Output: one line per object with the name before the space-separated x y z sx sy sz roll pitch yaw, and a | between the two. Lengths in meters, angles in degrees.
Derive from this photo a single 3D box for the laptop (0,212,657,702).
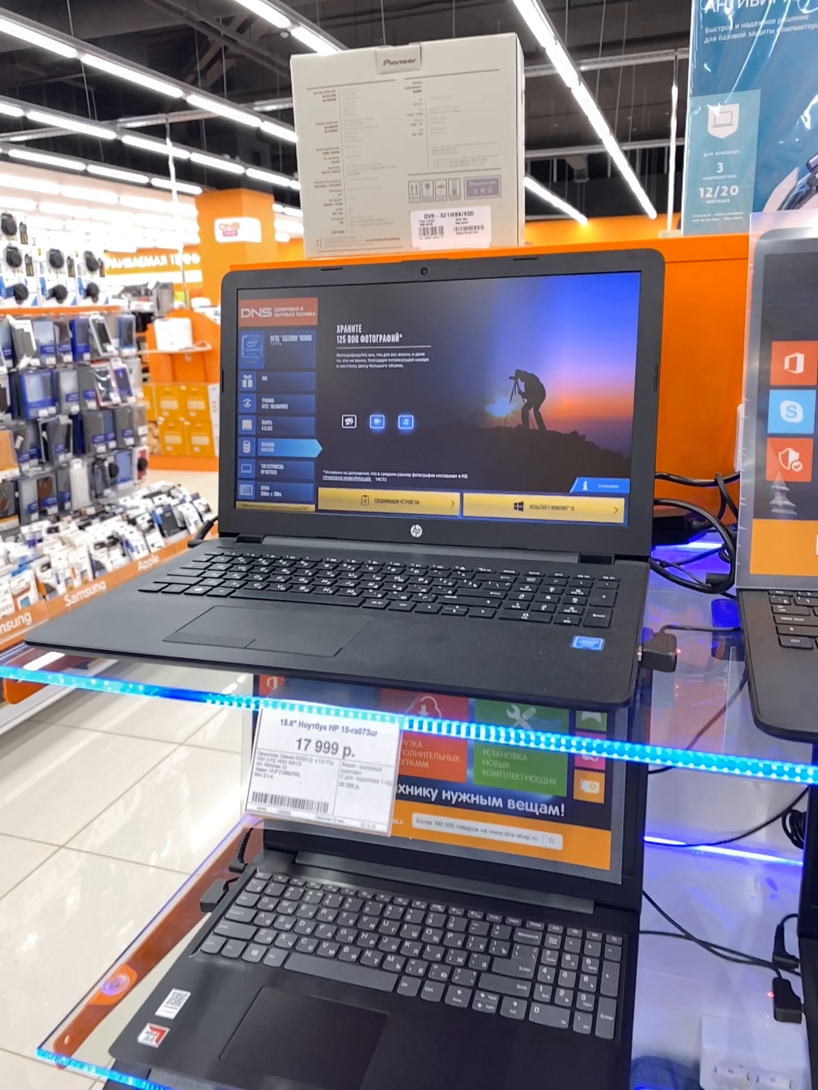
laptop | -0.028 -0.087 0.612 0.389 0.236 0.323 3 16 18
